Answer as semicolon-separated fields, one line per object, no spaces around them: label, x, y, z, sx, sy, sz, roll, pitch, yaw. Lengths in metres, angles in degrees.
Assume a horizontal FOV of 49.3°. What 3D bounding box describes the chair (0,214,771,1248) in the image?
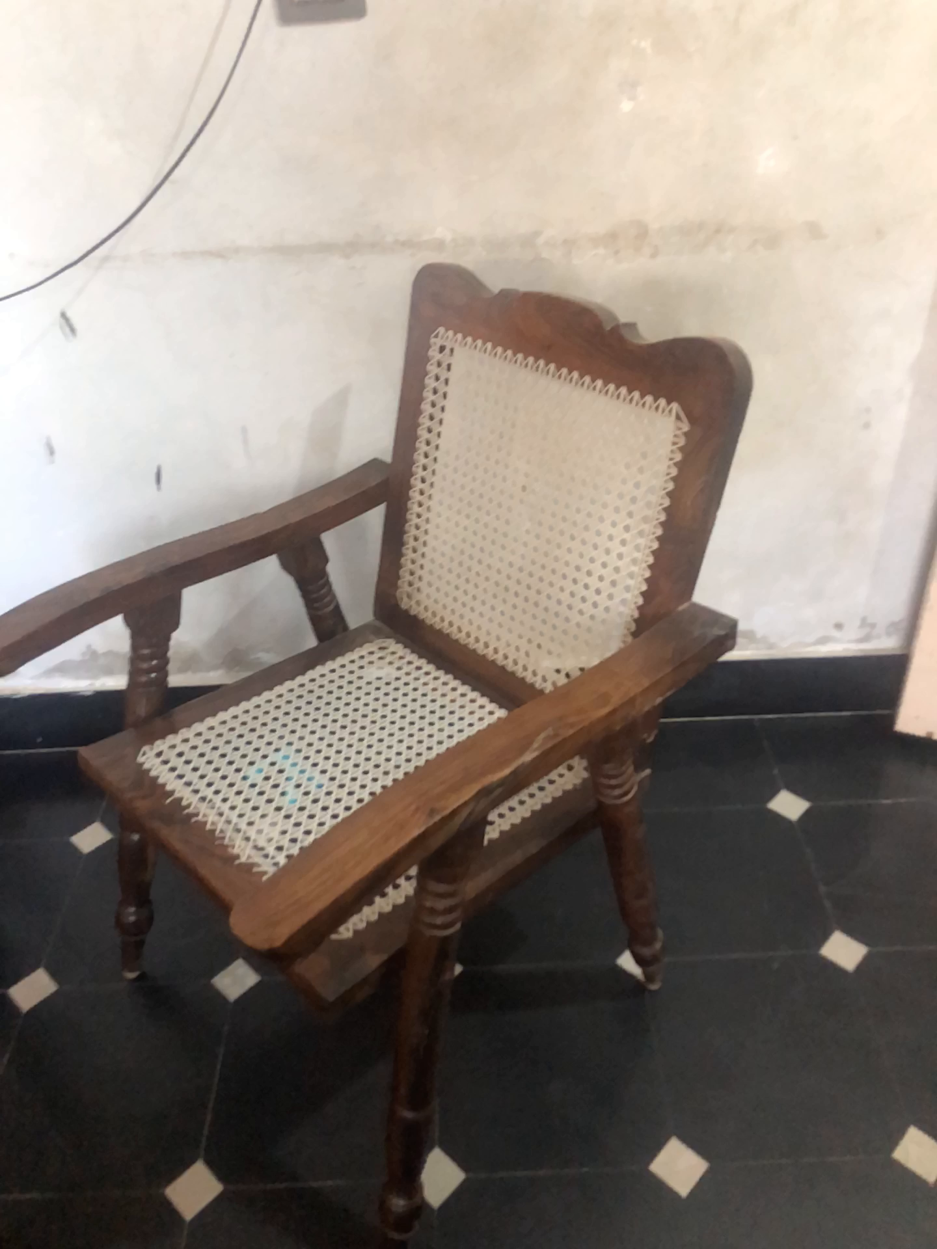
chair;-0.132;0.084;1.085;0.581;0.796;0.562;27;46;36
